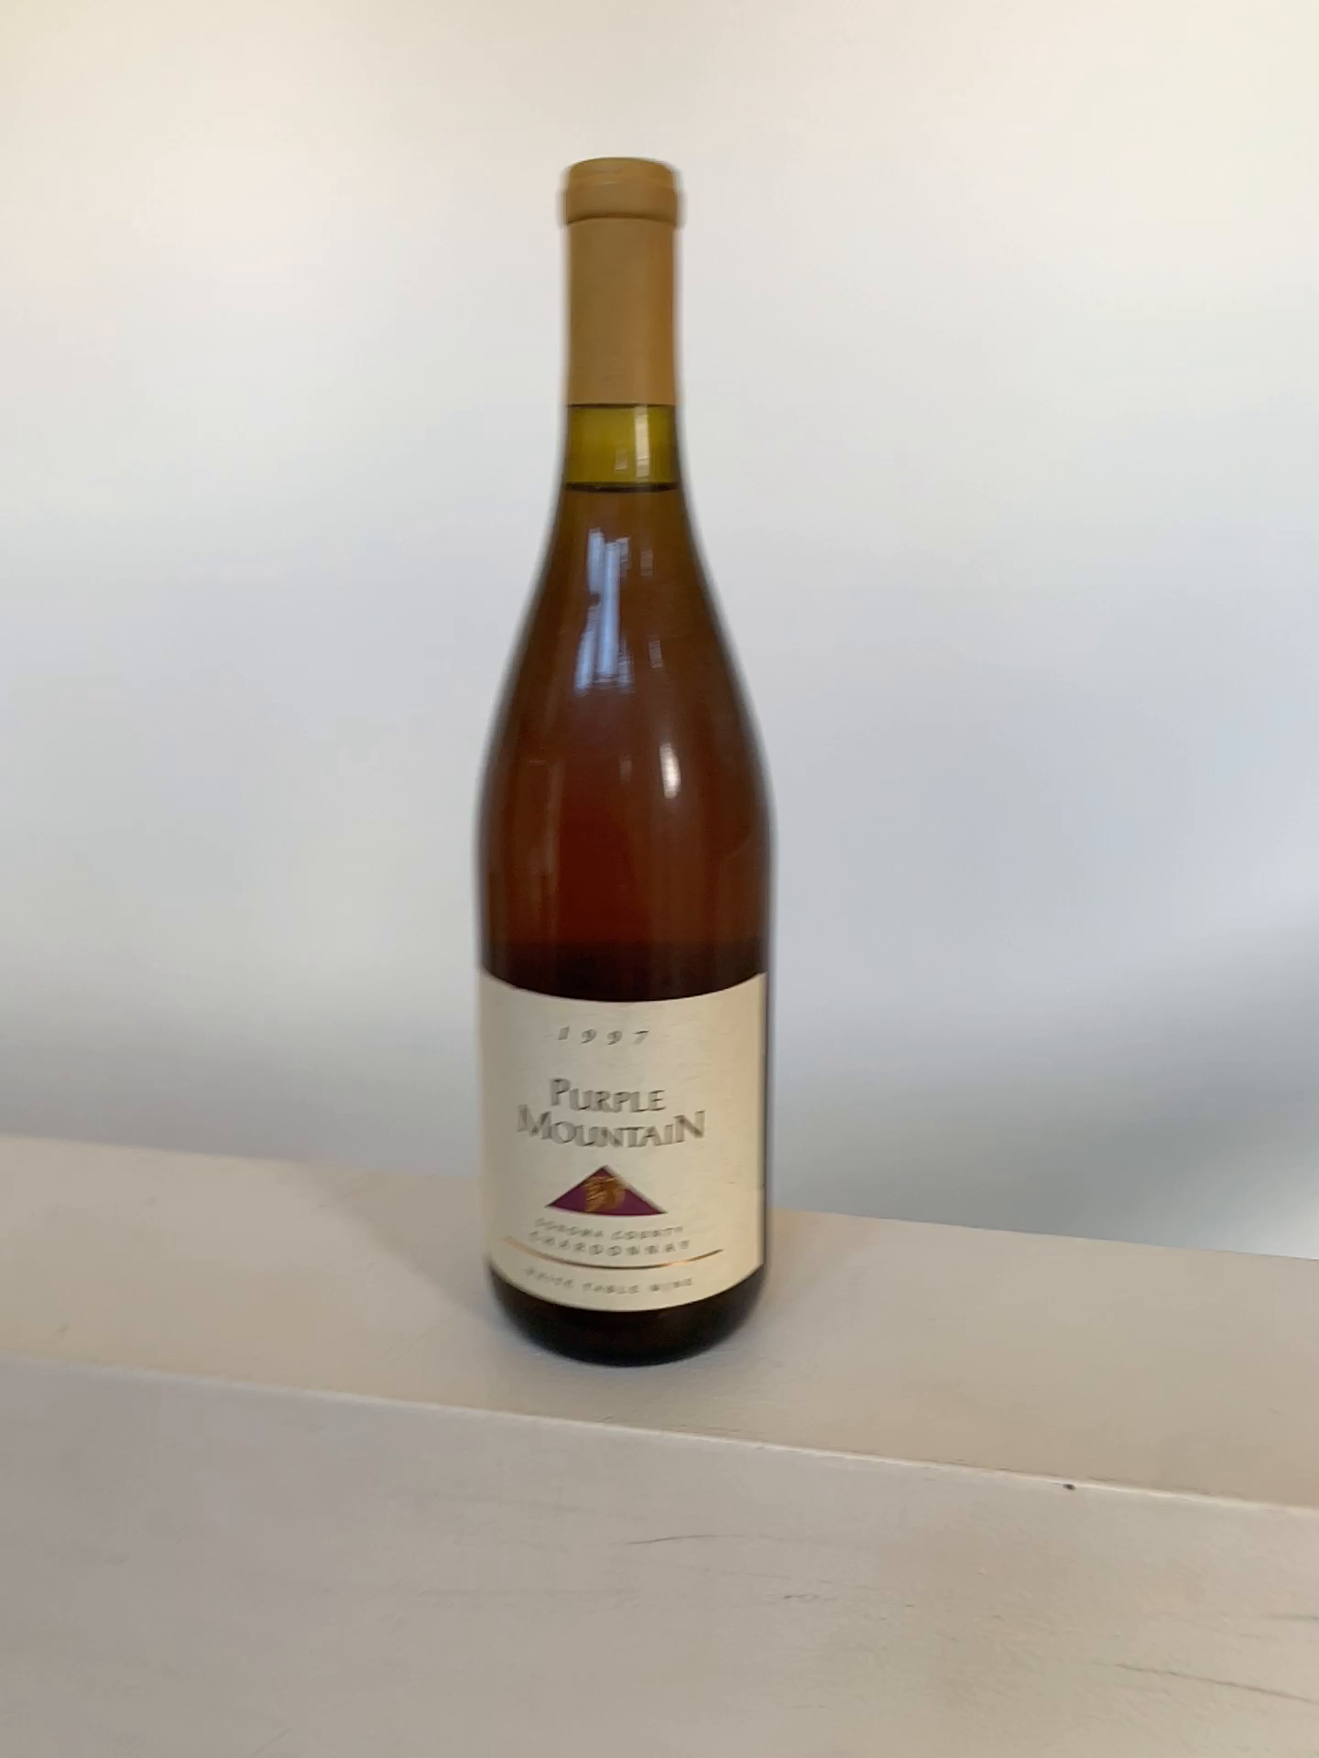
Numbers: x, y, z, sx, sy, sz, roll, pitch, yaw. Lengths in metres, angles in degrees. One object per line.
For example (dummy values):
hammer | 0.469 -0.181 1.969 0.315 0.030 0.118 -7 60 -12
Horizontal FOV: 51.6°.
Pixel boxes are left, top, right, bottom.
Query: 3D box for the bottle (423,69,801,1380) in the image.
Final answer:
bottle | -0.008 -0.030 0.362 0.080 0.309 0.080 0 14 0
